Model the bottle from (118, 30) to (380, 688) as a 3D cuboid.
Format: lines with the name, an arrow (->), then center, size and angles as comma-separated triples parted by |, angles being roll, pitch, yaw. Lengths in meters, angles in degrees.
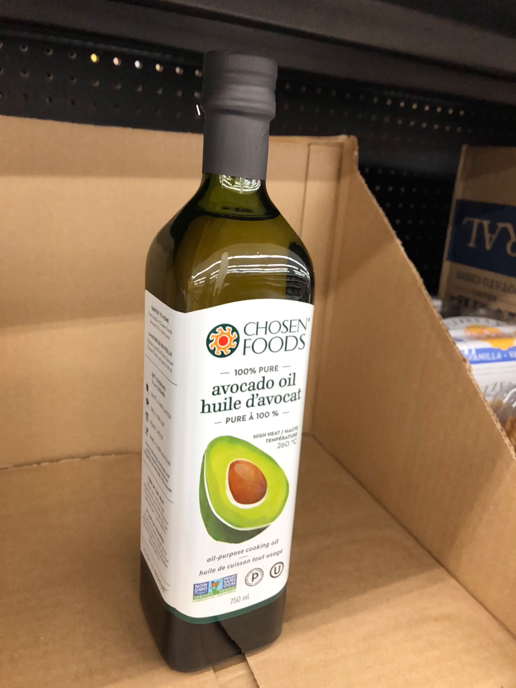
bottle -> -0.018, 0.023, 0.294 | 0.090, 0.308, 0.070 | -4, 21, -26
